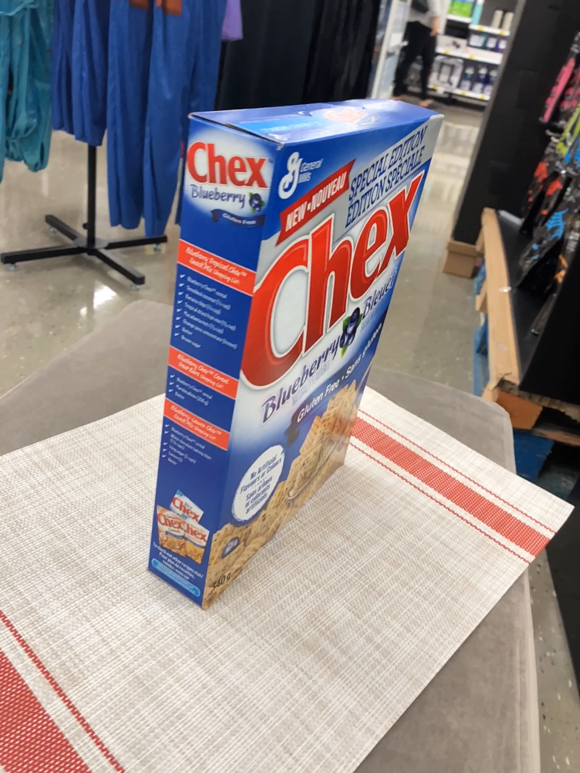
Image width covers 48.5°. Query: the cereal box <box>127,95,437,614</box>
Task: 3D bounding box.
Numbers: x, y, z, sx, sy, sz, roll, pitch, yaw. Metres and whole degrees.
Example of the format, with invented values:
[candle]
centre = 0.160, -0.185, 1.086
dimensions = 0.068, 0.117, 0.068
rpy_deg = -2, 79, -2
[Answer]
[cereal box]
centre = -0.004, -0.028, 0.387
dimensions = 0.050, 0.259, 0.201
rpy_deg = 24, 33, 21
